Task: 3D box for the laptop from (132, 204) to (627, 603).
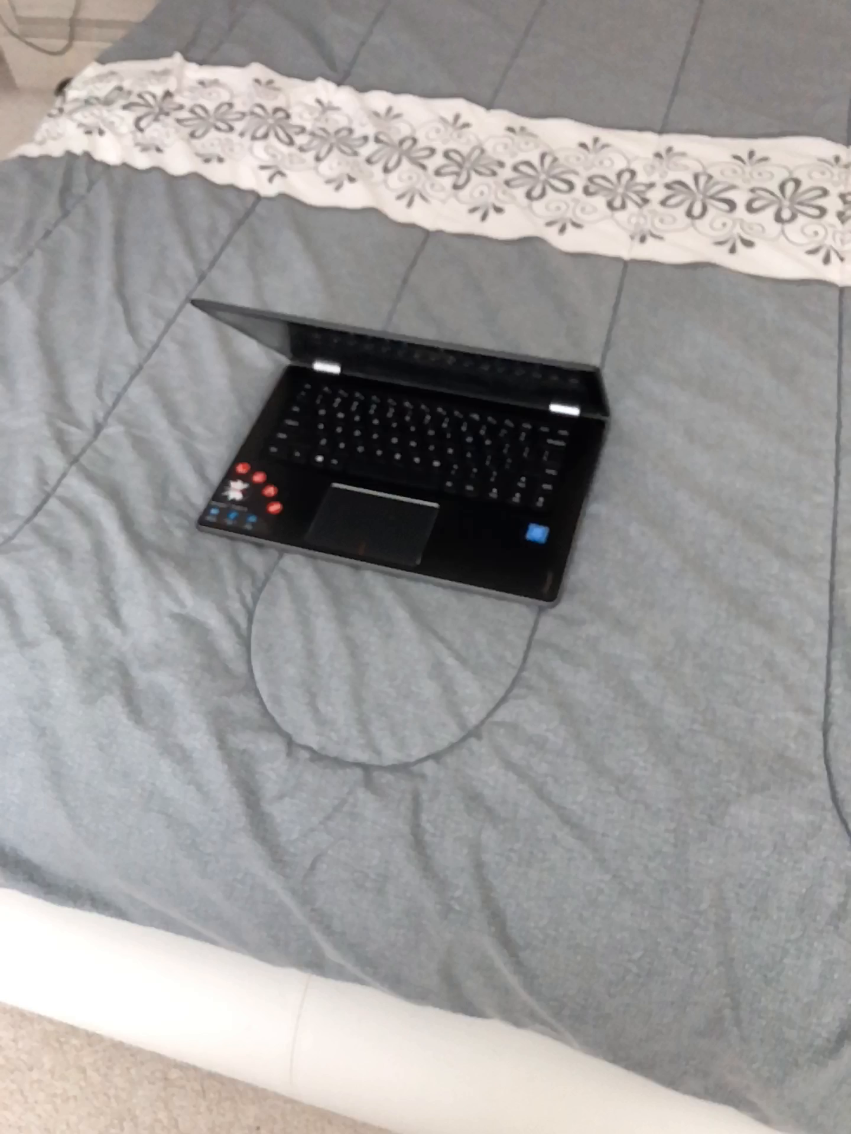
[{"bbox_3d":[-0.020,-0.136,0.754,0.304,0.167,0.215,13,55,13],"label":"laptop"}]
